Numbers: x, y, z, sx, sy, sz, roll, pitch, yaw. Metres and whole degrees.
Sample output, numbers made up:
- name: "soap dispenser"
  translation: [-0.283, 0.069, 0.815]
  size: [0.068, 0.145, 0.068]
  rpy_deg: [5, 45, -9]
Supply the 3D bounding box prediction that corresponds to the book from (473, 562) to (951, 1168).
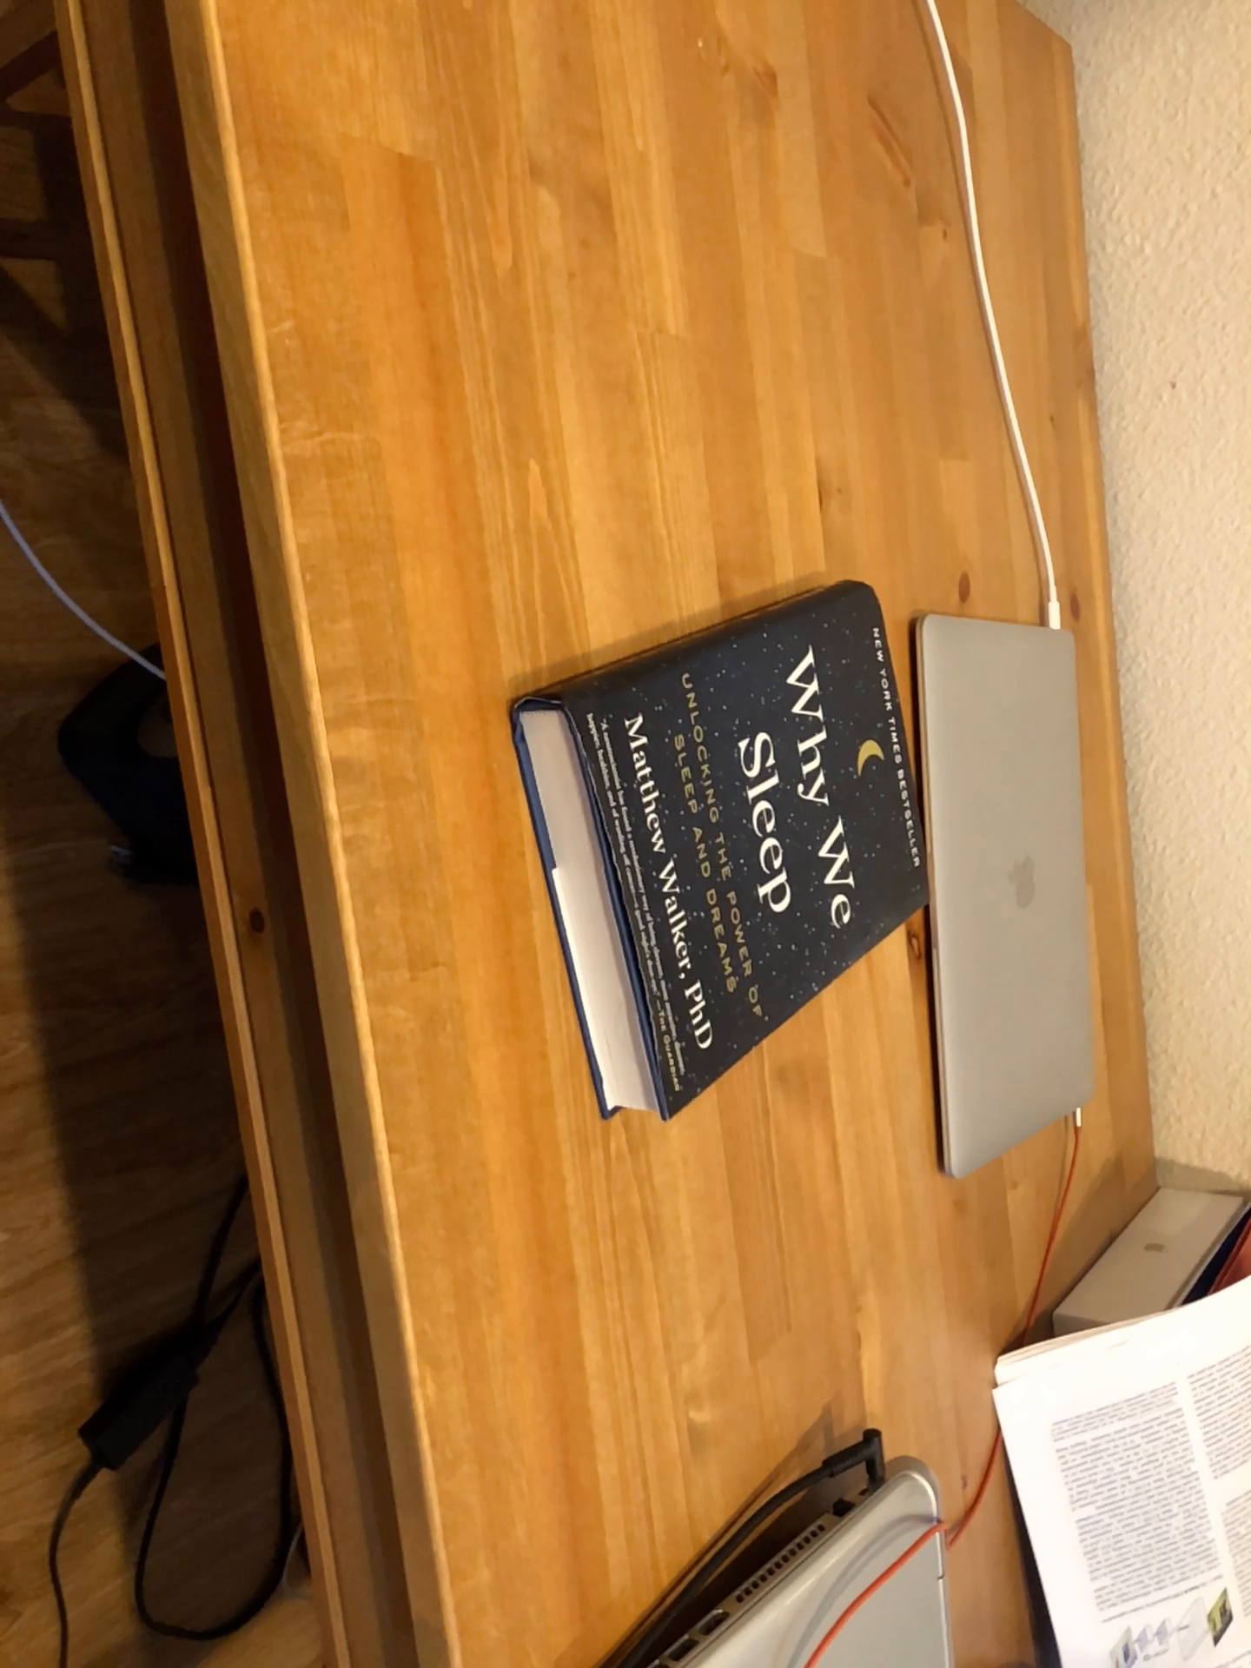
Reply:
- name: "book"
  translation: [0.052, -0.003, 0.559]
  size: [0.241, 0.040, 0.170]
  rpy_deg: [-29, 111, -50]
